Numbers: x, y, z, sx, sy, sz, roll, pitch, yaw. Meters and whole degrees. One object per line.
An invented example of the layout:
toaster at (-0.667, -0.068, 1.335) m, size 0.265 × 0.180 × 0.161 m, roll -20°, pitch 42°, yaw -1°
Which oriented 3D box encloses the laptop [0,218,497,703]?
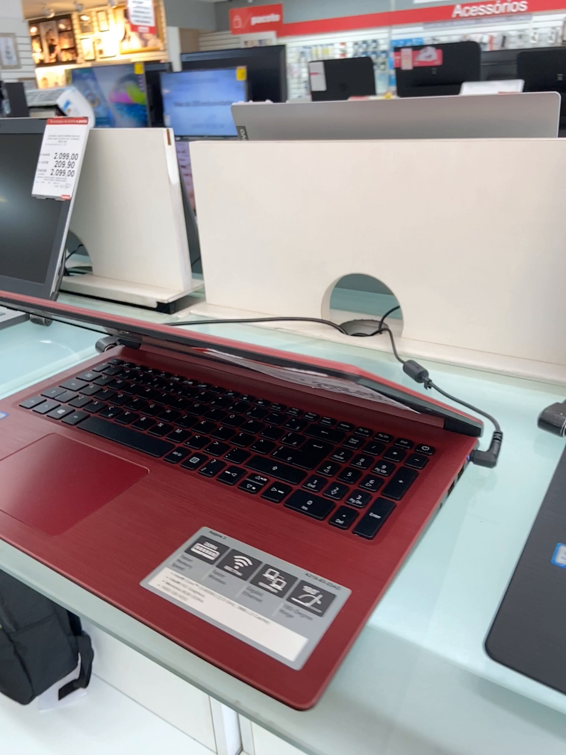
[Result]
laptop at (-0.087, -0.008, 0.399) m, size 0.380 × 0.132 × 0.237 m, roll 13°, pitch 30°, yaw 30°

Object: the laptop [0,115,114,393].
laptop at (-0.503, -0.199, 0.736) m, size 0.354 × 0.215 × 0.379 m, roll 15°, pitch 31°, yaw 30°
